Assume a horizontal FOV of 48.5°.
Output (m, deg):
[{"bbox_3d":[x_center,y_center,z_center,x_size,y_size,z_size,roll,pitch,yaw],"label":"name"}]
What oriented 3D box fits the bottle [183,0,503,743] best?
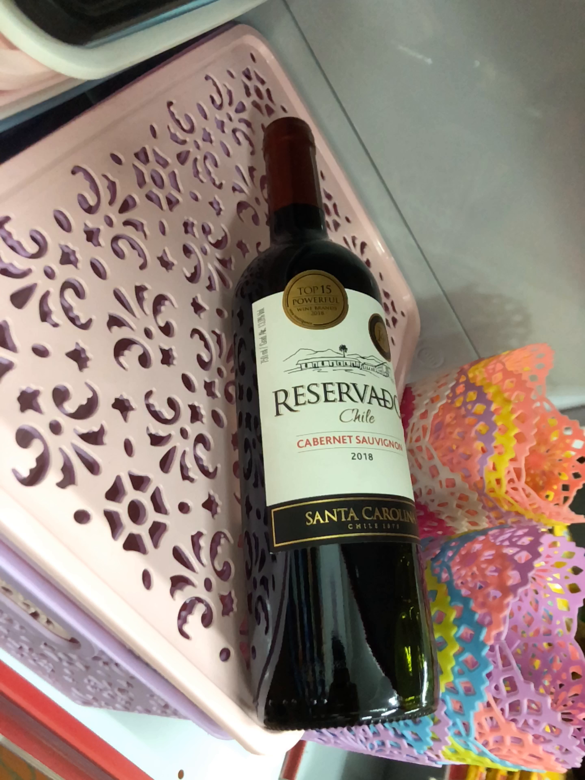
[{"bbox_3d":[0.010,-0.032,0.299,0.080,0.060,0.330,21,53,-47],"label":"bottle"}]
